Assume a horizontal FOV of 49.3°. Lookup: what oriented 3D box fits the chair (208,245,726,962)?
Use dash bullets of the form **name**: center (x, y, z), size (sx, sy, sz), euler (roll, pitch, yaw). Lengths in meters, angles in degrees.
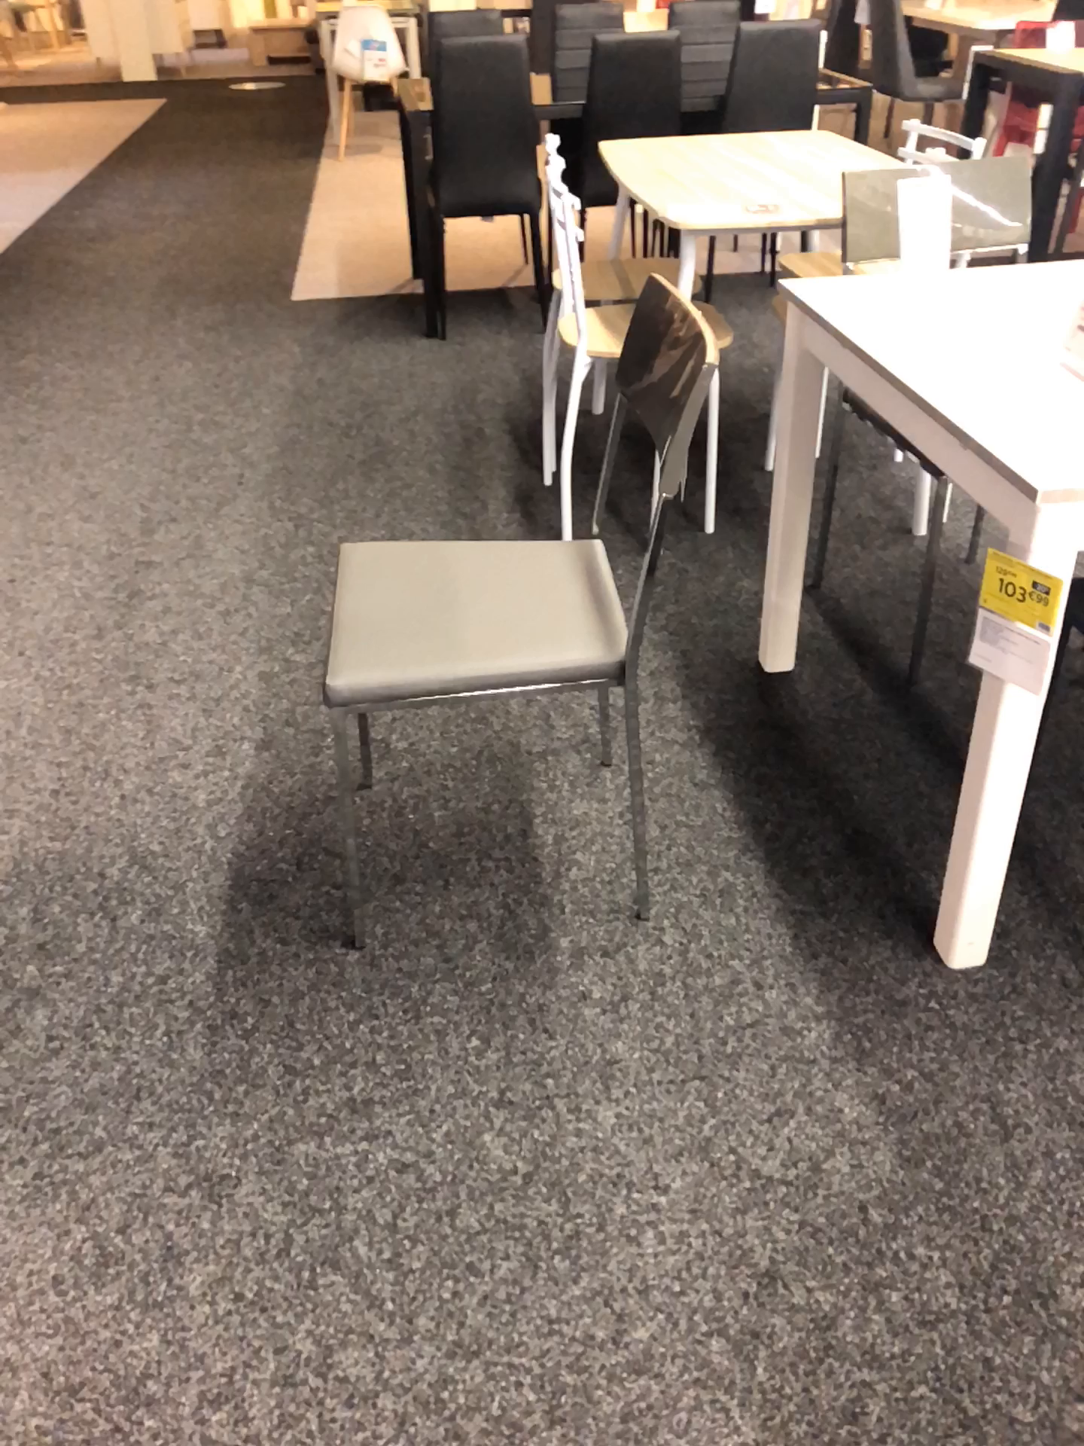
- **chair**: center (-0.084, -0.167, 1.695), size (0.550, 0.855, 0.493), euler (-4, 34, -3)
